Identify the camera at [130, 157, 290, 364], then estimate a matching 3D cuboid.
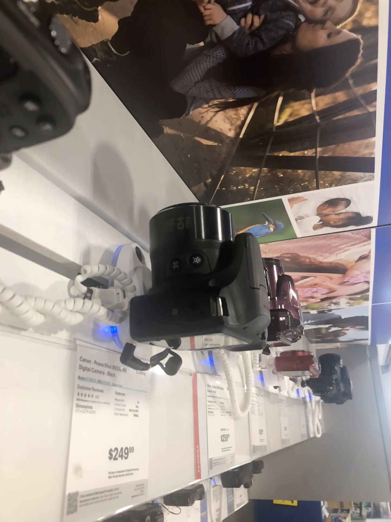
[{"bbox_3d":[0.015,0.012,0.303,0.121,0.070,0.110,34,49,-65],"label":"camera"}]
